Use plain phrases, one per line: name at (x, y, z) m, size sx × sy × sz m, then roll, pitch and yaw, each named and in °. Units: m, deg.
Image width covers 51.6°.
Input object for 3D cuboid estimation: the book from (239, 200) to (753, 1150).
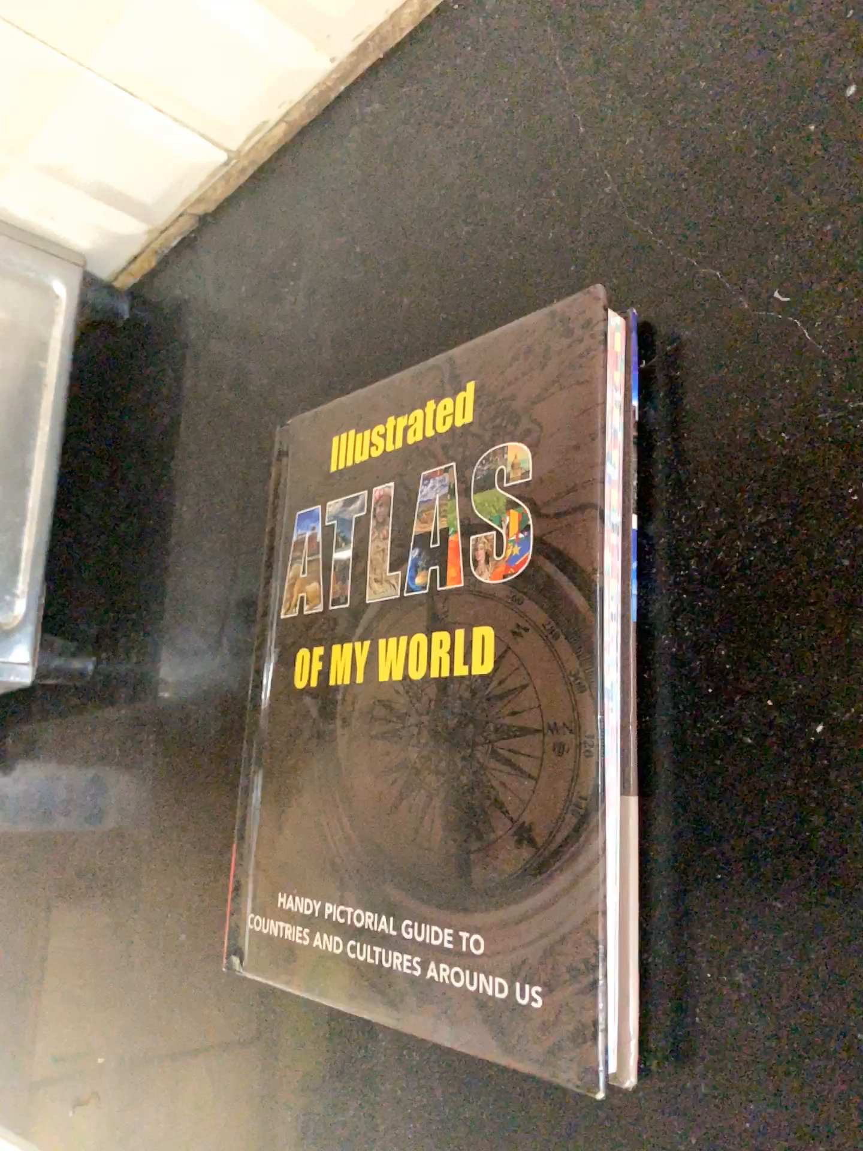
book at (0.012, 0.029, 0.338) m, size 0.201 × 0.040 × 0.270 m, roll -12°, pitch 70°, yaw 45°
